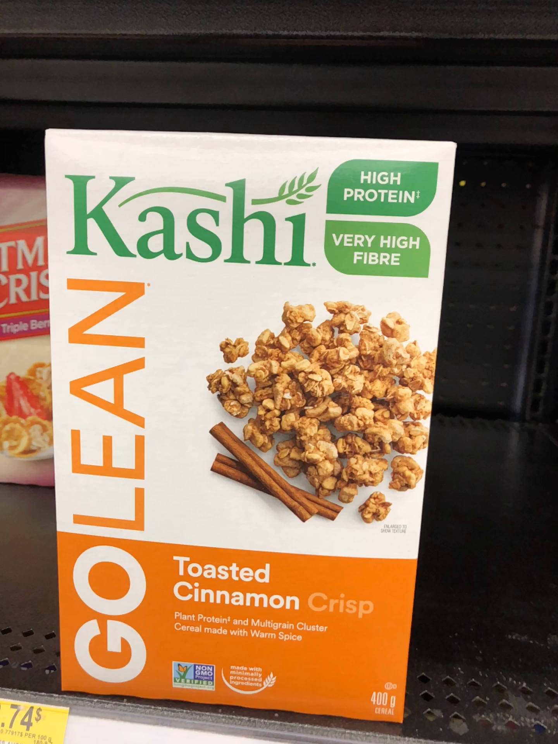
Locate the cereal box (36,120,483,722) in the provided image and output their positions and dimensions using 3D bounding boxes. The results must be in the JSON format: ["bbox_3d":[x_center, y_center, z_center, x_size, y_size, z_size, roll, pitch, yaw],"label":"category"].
[{"bbox_3d":[-0.013,0.024,0.283,0.170,0.249,0.050,4,12,4],"label":"cereal box"}]
